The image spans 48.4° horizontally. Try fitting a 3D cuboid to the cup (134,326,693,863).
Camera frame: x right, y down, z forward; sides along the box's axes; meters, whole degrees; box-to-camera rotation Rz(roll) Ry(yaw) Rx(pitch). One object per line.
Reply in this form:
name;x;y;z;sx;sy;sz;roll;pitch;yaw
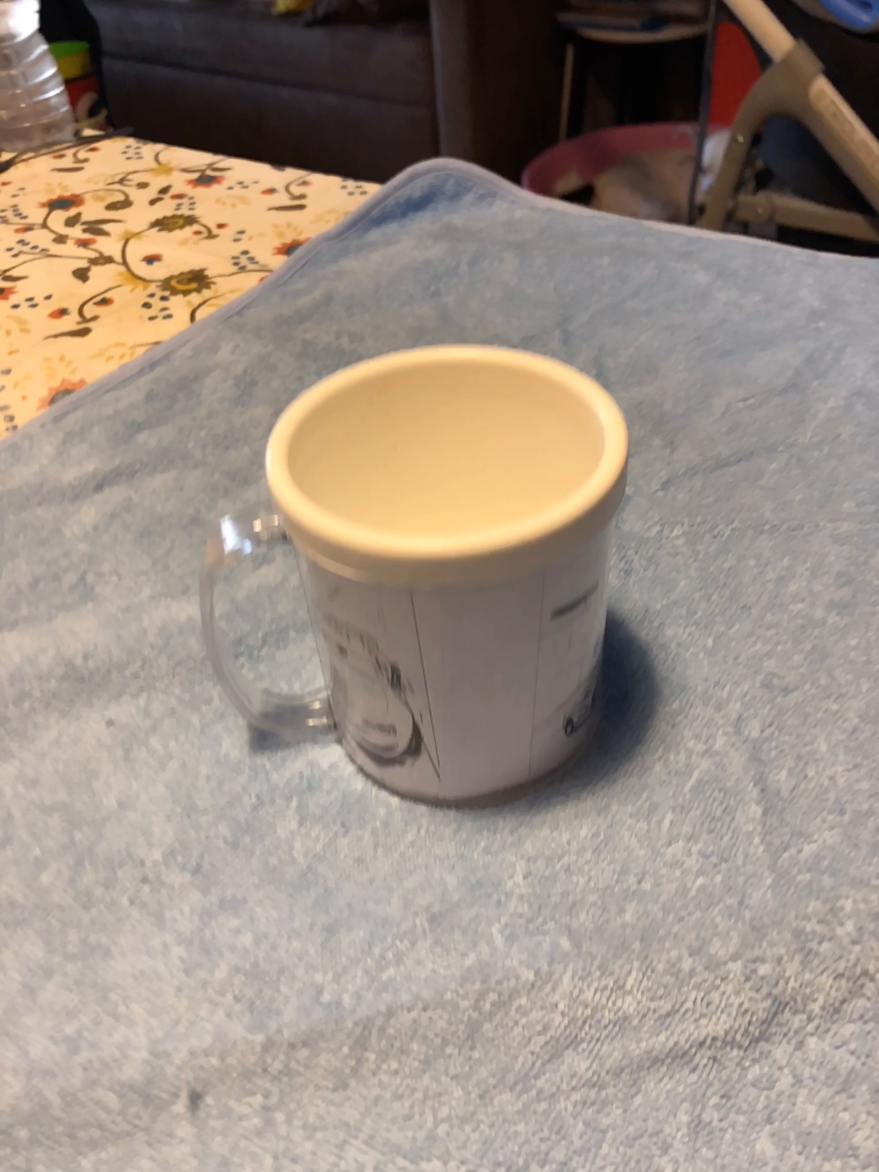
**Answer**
cup;-0.008;0.001;0.274;0.120;0.099;0.091;-8;42;-4
